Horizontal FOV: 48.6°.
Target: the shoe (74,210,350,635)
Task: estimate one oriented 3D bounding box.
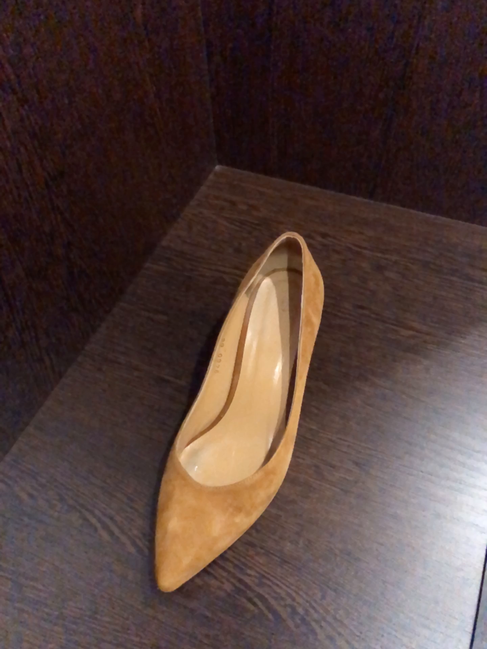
[{"bbox_3d":[-0.001,0.051,0.386,0.090,0.100,0.270,13,54,13],"label":"shoe"}]
